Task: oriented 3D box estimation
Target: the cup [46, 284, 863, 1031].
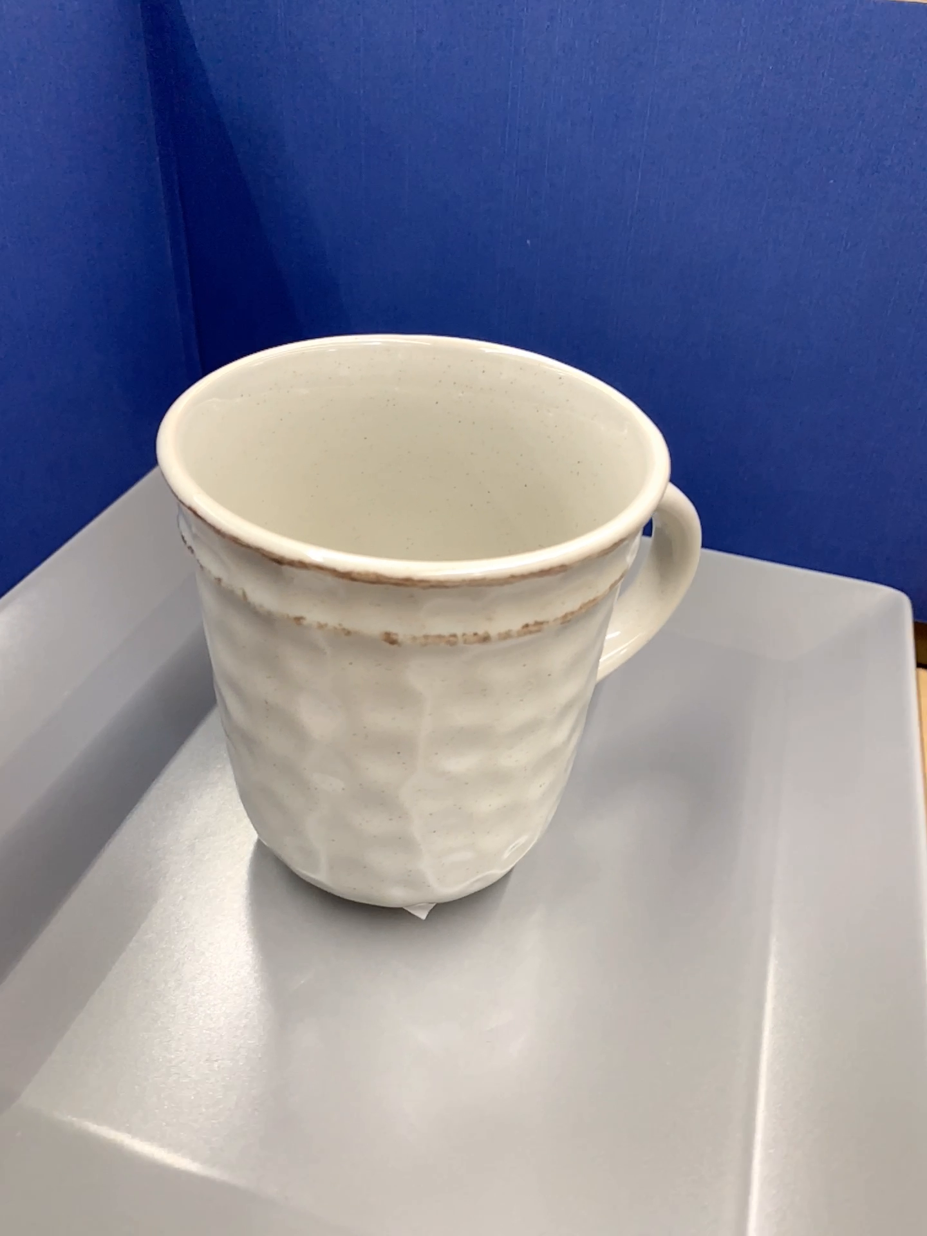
[{"bbox_3d":[0.001,-0.007,0.210,0.101,0.082,0.123,30,43,32],"label":"cup"}]
